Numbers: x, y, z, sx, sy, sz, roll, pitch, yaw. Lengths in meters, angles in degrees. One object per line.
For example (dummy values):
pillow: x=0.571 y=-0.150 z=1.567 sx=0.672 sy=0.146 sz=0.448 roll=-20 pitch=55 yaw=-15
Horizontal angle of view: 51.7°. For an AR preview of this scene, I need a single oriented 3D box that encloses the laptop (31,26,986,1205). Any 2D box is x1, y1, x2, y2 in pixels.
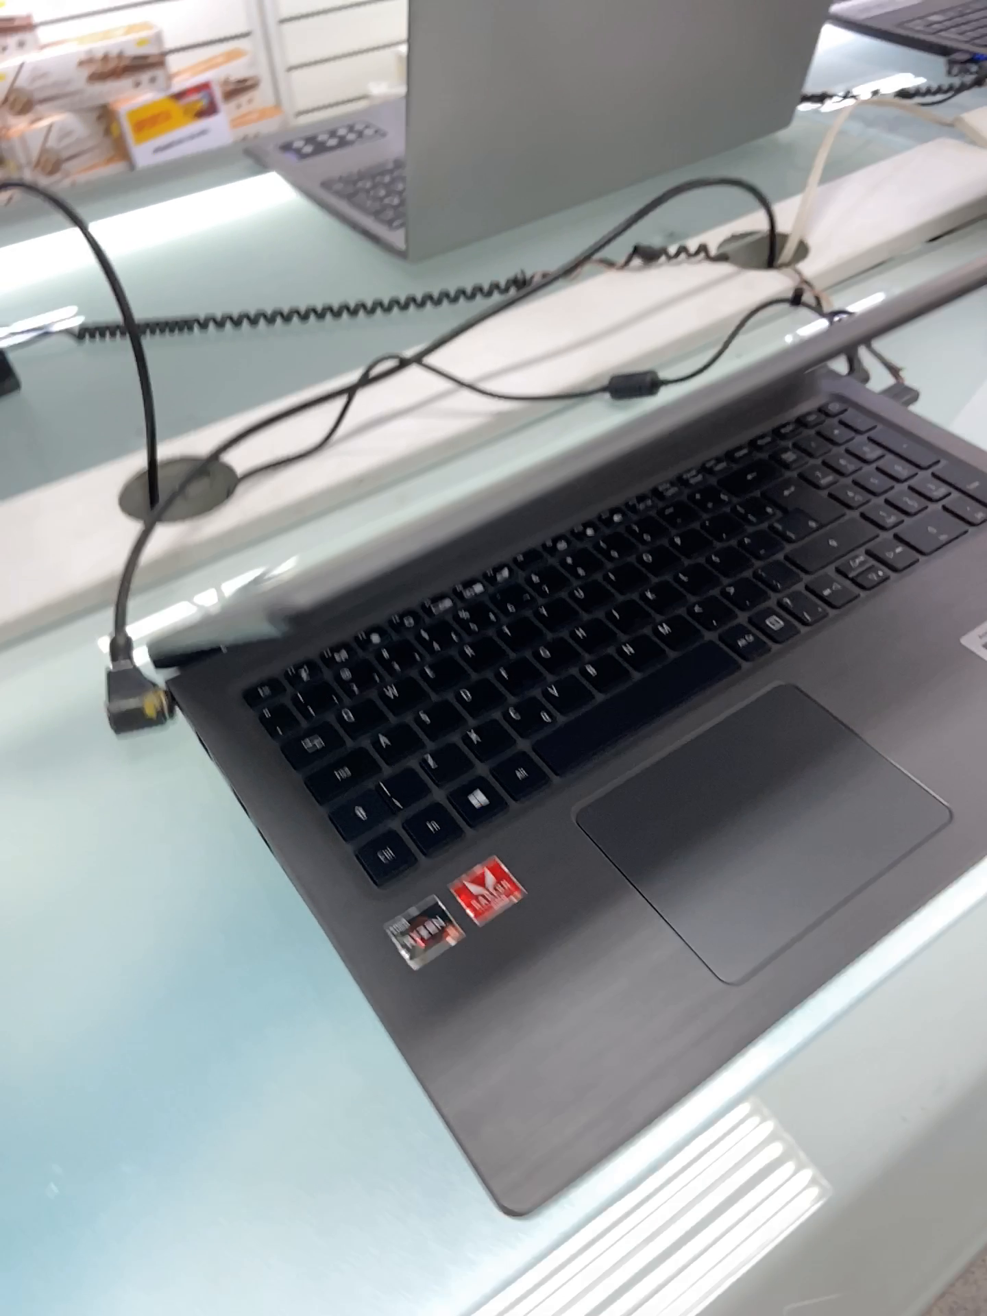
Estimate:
laptop: x=0.085 y=-0.057 z=0.326 sx=0.343 sy=0.155 sz=0.221 roll=-28 pitch=50 yaw=-22
